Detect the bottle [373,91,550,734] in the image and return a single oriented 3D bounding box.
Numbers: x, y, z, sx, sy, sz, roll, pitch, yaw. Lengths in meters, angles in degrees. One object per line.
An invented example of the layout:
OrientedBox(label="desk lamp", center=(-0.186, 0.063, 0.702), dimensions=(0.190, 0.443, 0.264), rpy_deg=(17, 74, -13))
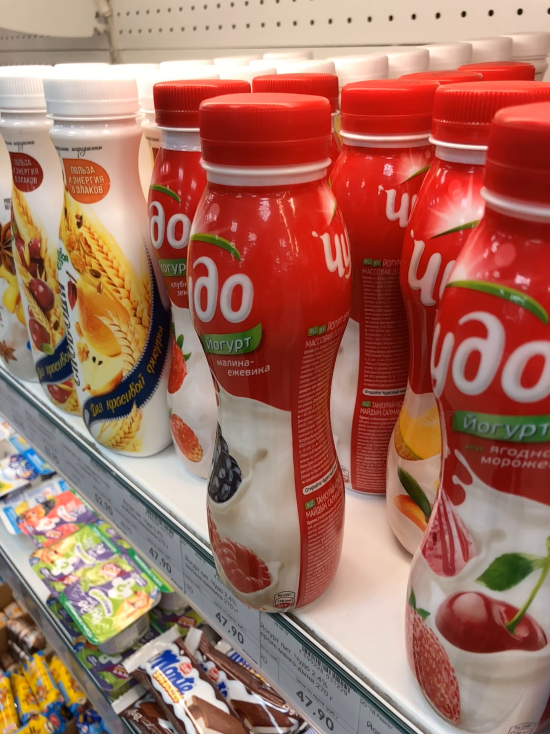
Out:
OrientedBox(label="bottle", center=(0.067, 0.026, 0.170), dimensions=(0.050, 0.181, 0.054), rpy_deg=(-2, 28, 1))

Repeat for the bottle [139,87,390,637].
OrientedBox(label="bottle", center=(-0.001, 0.003, 0.218), dimensions=(0.050, 0.181, 0.054), rpy_deg=(-2, 28, 1))

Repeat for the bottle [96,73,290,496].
OrientedBox(label="bottle", center=(-0.032, -0.035, 0.286), dimensions=(0.050, 0.181, 0.054), rpy_deg=(-2, 28, 1))
